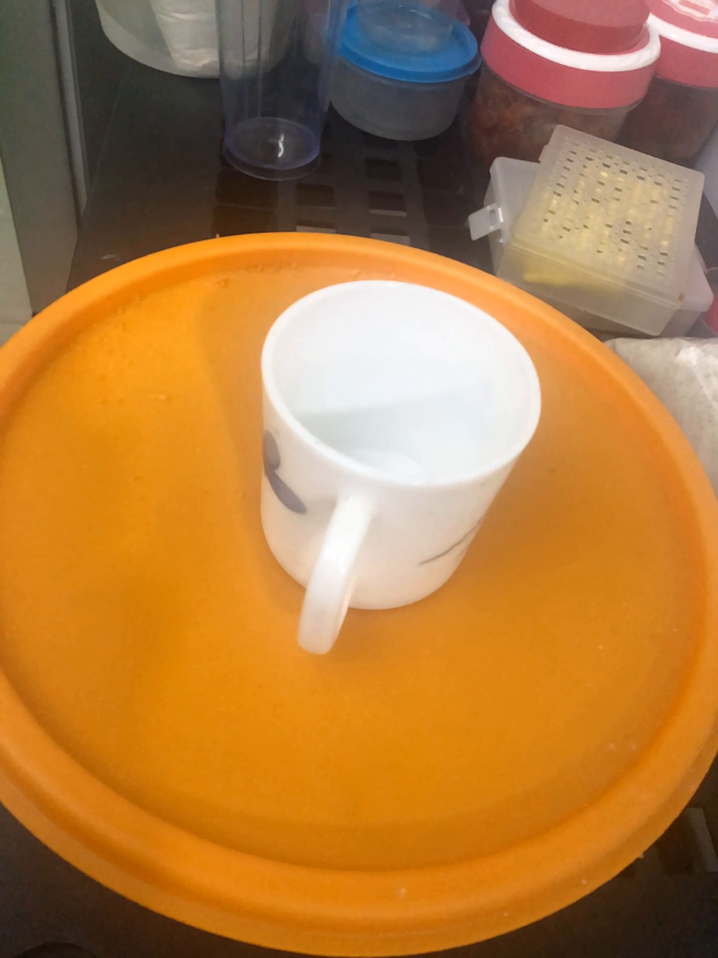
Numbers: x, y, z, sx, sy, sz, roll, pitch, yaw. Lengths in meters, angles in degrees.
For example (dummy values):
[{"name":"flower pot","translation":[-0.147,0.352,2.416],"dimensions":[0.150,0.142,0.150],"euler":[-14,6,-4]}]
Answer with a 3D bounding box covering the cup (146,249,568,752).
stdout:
[{"name":"cup","translation":[0.002,0.004,0.224],"dimensions":[0.080,0.070,0.100],"euler":[18,52,3]}]
